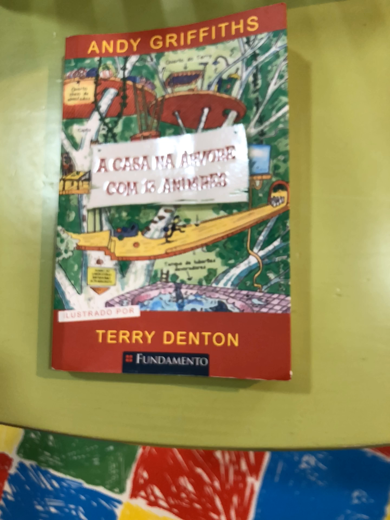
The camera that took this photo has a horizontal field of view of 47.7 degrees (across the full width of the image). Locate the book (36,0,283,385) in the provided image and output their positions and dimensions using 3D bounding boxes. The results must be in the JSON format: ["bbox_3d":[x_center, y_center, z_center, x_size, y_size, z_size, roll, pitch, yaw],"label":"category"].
[{"bbox_3d":[-0.018,-0.038,0.266,0.137,0.040,0.210,-1,84,12],"label":"book"}]
